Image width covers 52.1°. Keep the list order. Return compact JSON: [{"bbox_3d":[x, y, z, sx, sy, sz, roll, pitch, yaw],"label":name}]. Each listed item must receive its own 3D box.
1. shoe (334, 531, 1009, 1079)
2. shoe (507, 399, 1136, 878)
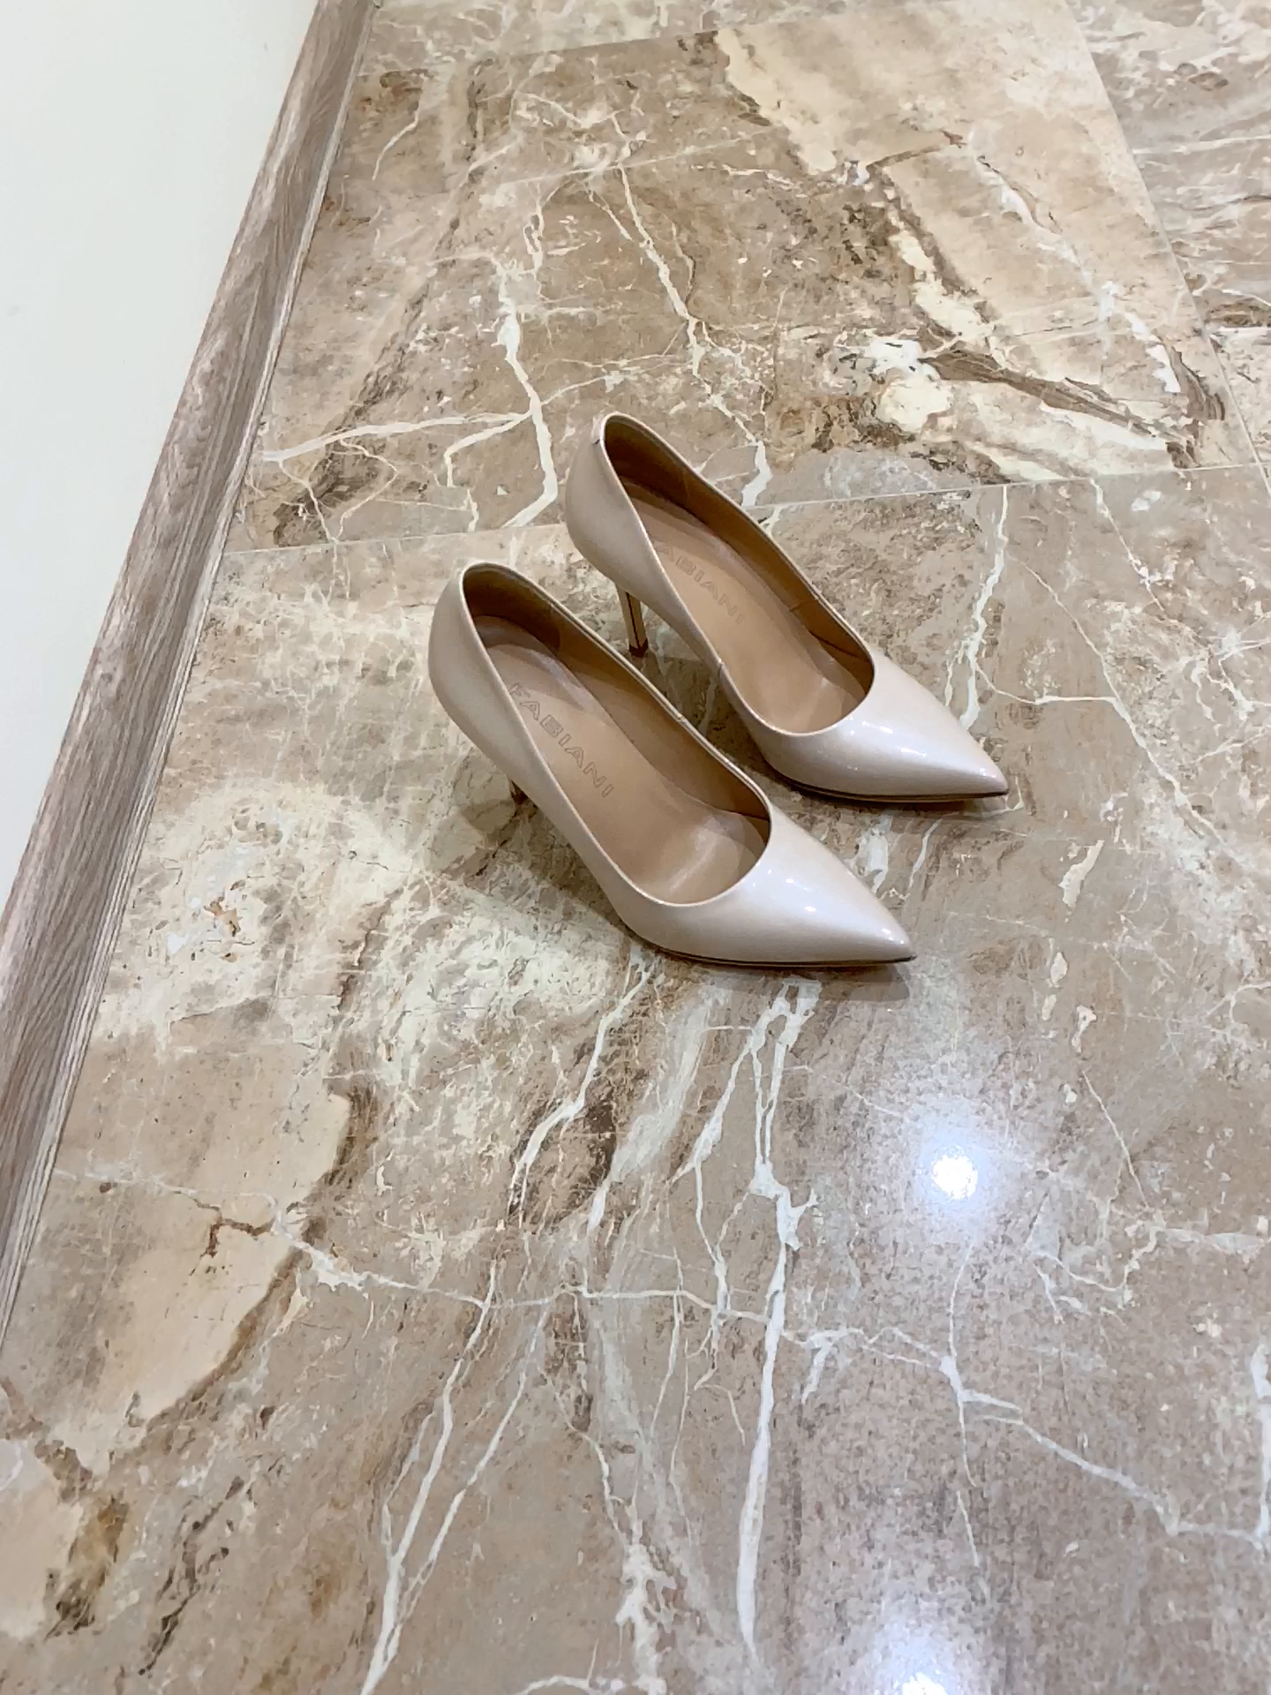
[{"bbox_3d":[0.013,-0.022,0.532,0.241,0.119,0.090,24,61,23],"label":"shoe"},{"bbox_3d":[0.076,-0.097,0.576,0.241,0.110,0.090,24,61,23],"label":"shoe"}]
